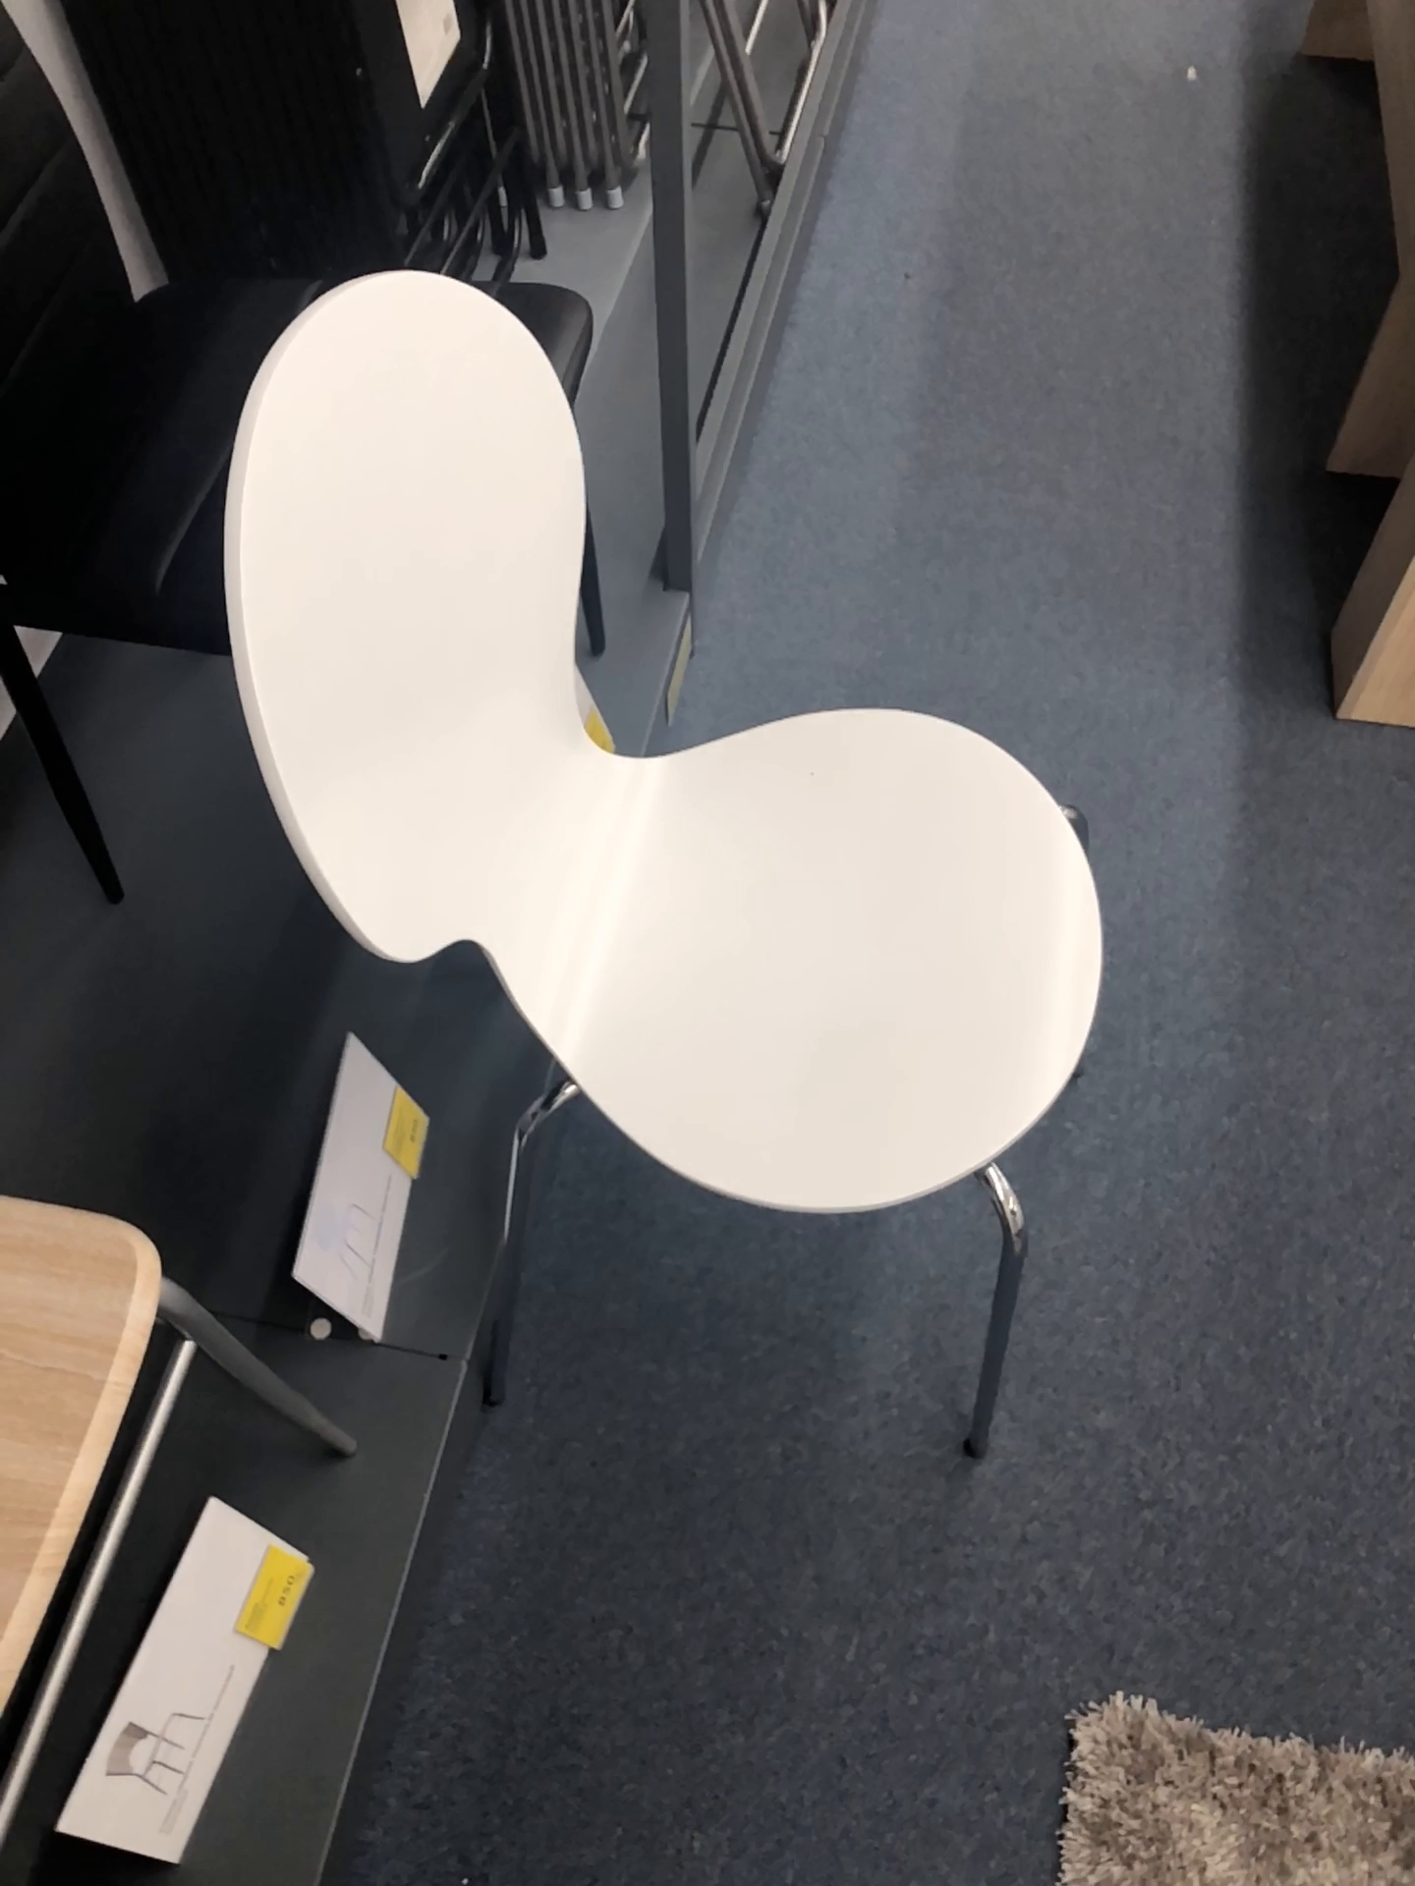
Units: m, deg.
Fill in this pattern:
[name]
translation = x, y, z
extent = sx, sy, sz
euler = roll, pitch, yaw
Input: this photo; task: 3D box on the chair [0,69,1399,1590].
[chair]
translation = 0.043, 0.010, 1.117
extent = 0.540, 0.898, 0.561
euler = 13, 58, 9
